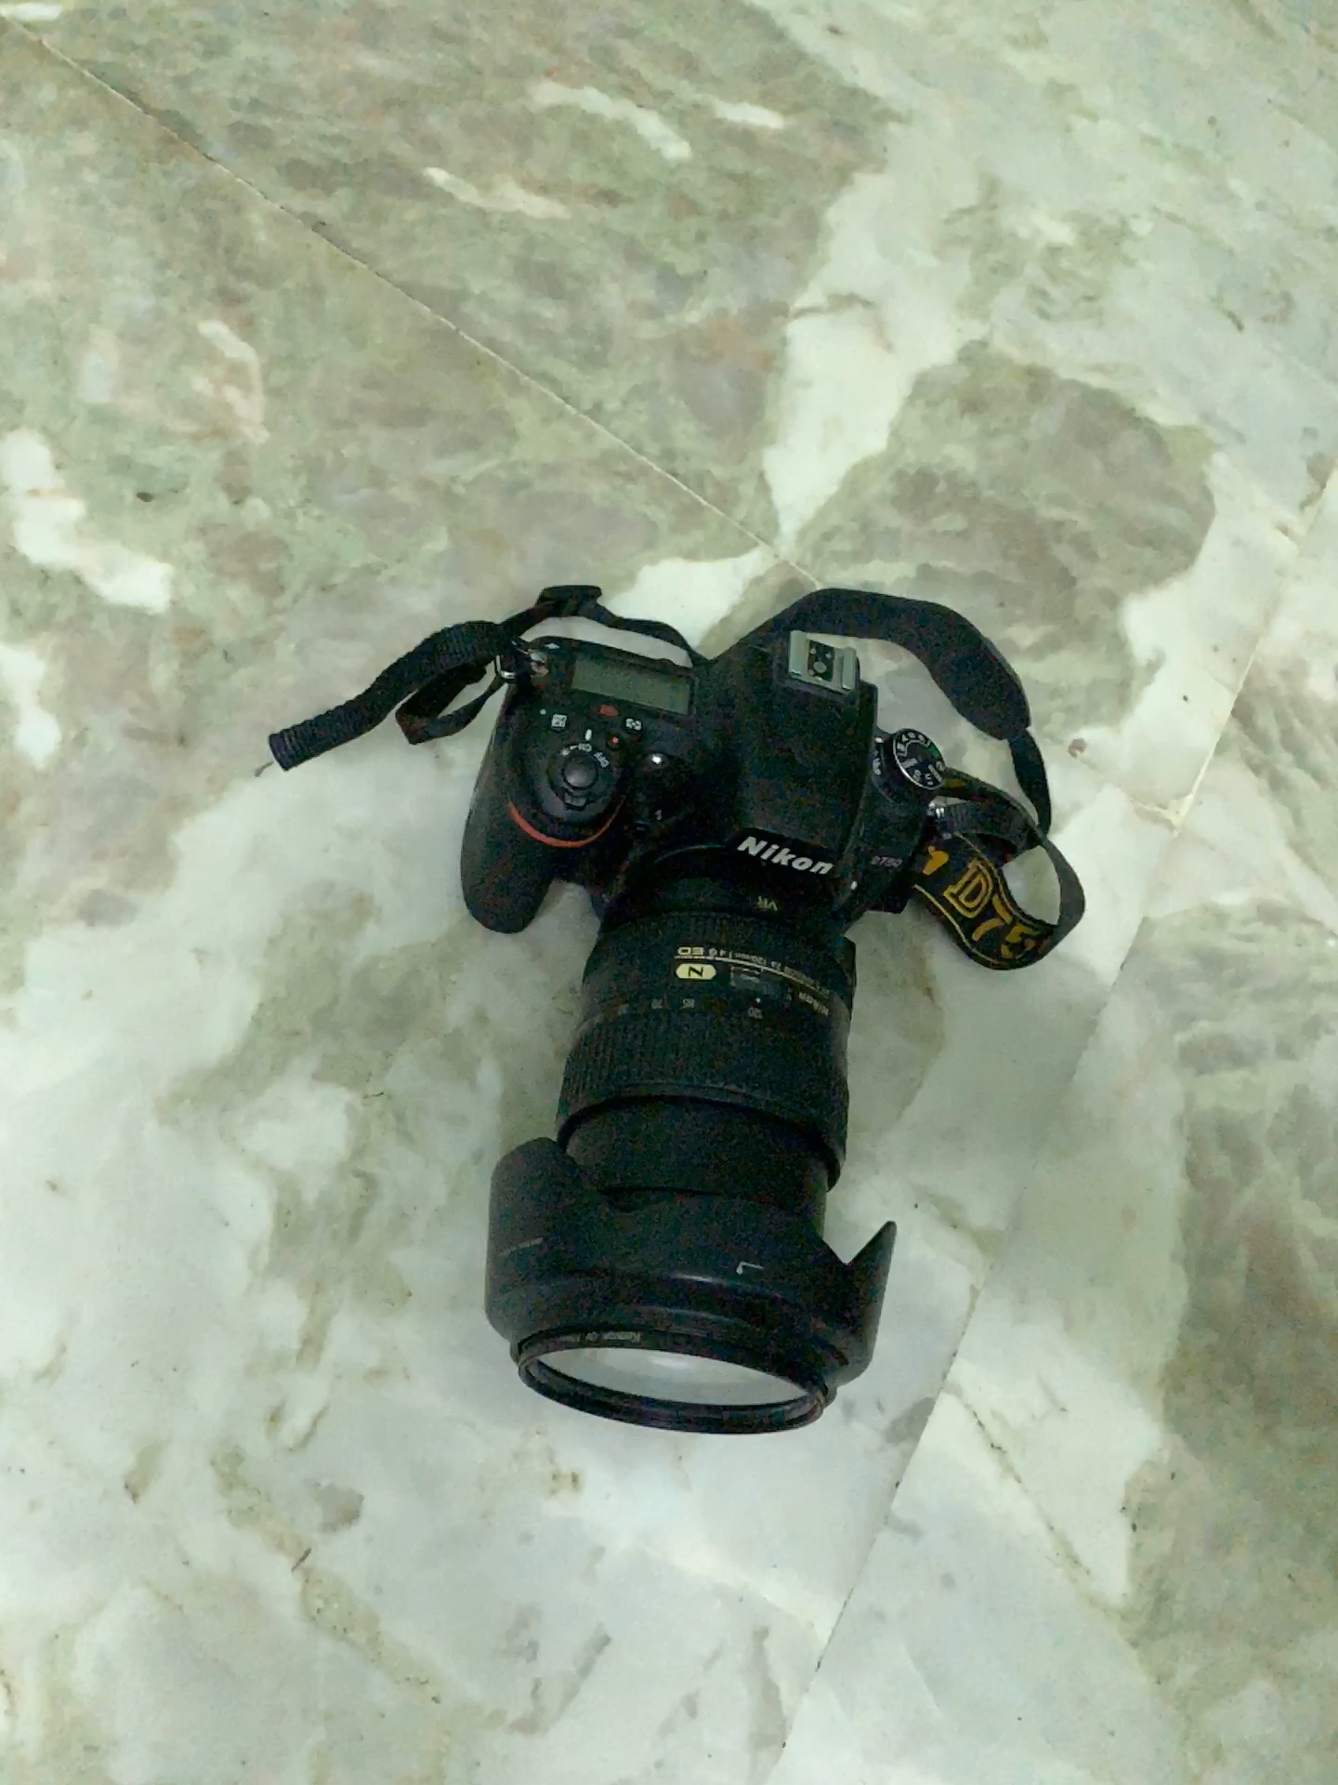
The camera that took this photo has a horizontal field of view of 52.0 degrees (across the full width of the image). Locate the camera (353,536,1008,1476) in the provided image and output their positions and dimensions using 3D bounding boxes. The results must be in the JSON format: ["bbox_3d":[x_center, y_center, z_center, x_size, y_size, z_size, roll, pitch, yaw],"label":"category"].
[{"bbox_3d":[0.007,0.031,0.366,0.130,0.090,0.210,13,60,-13],"label":"camera"}]
